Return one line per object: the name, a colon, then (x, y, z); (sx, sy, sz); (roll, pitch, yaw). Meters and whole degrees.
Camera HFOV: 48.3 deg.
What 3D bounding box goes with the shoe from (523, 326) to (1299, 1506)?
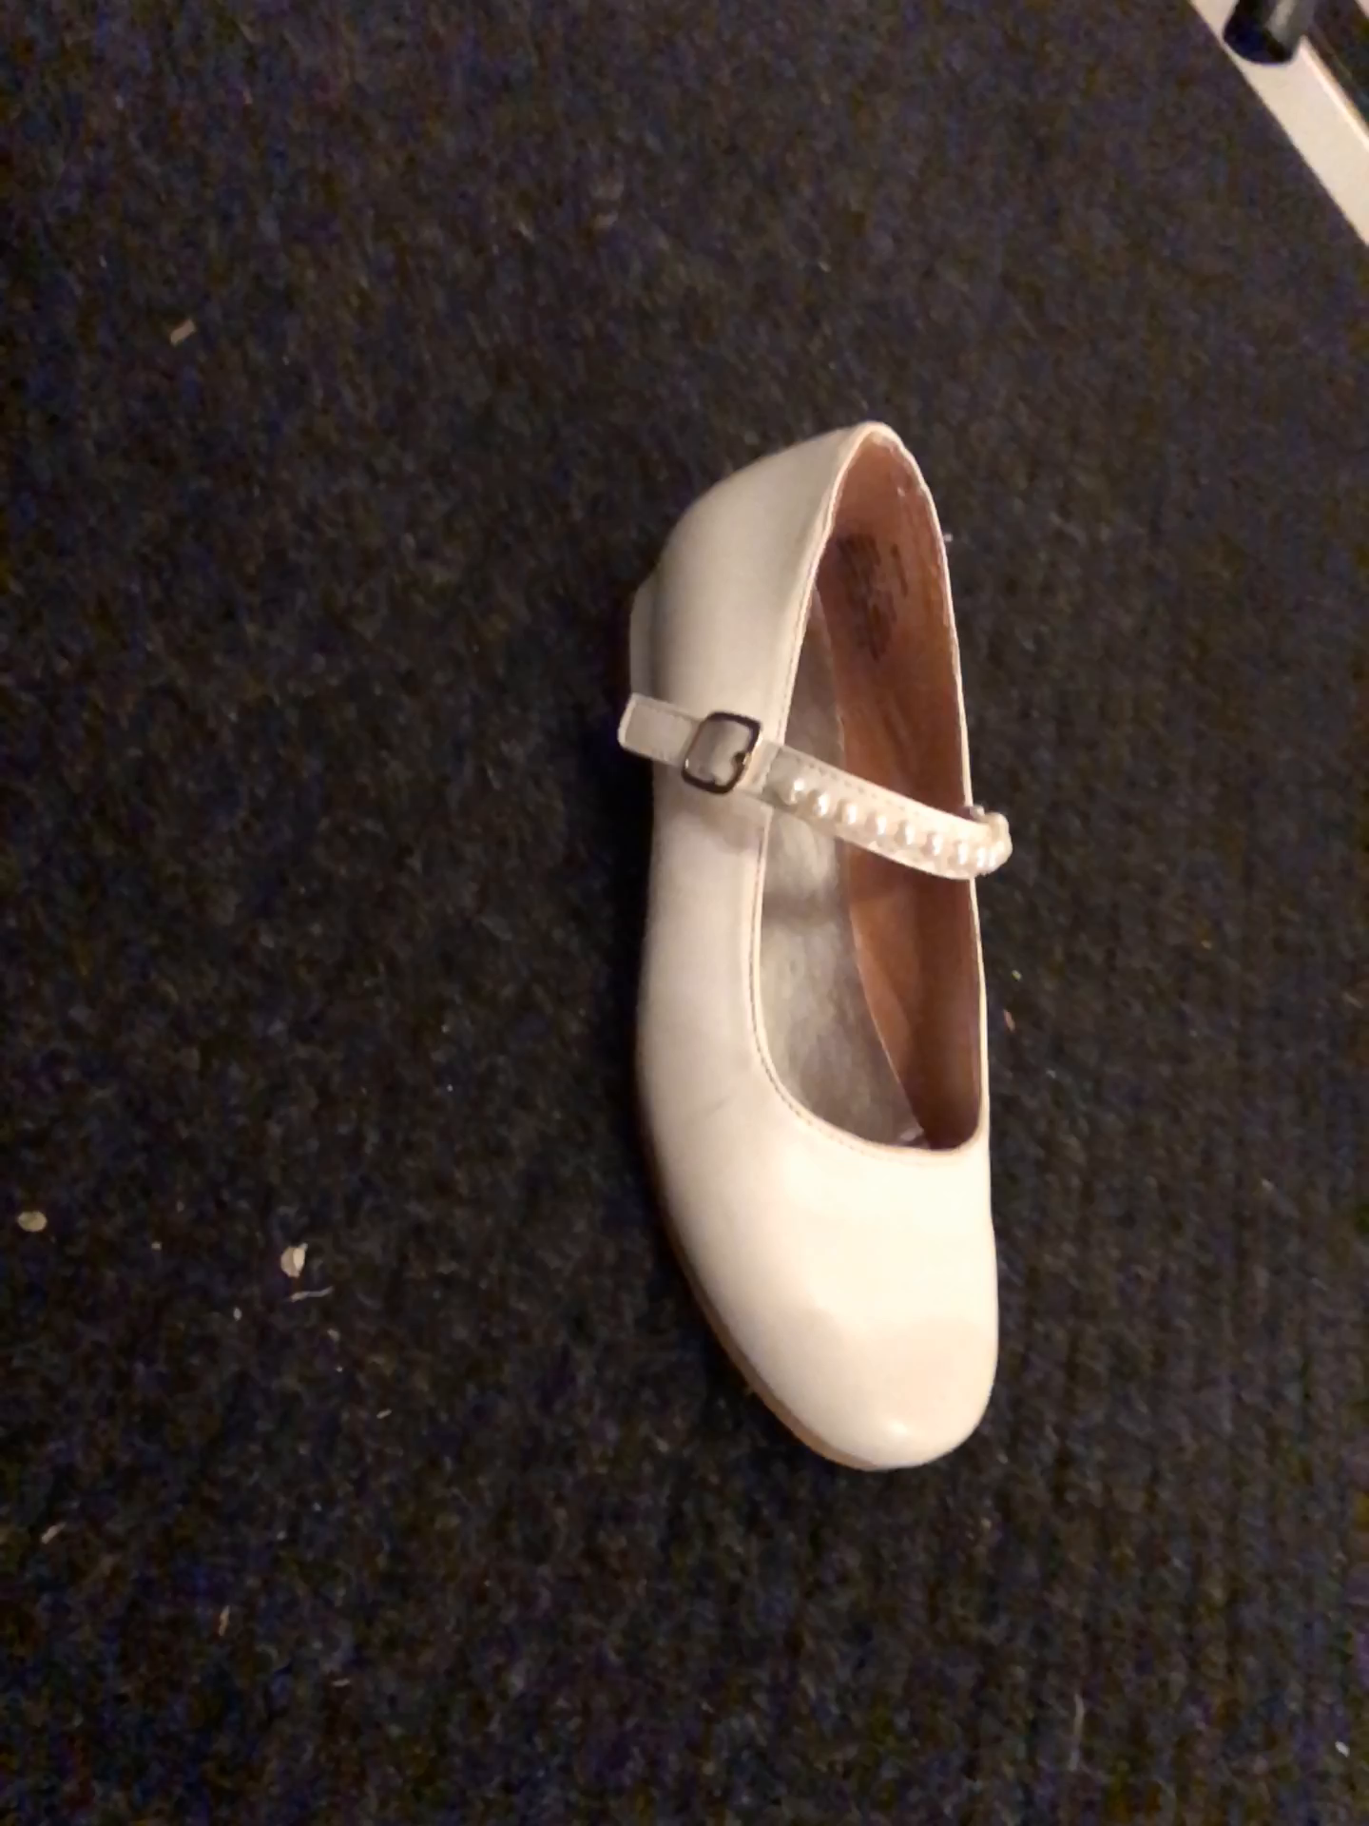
shoe: (0.035, 0.002, 0.302); (0.080, 0.080, 0.200); (12, 59, -41)
